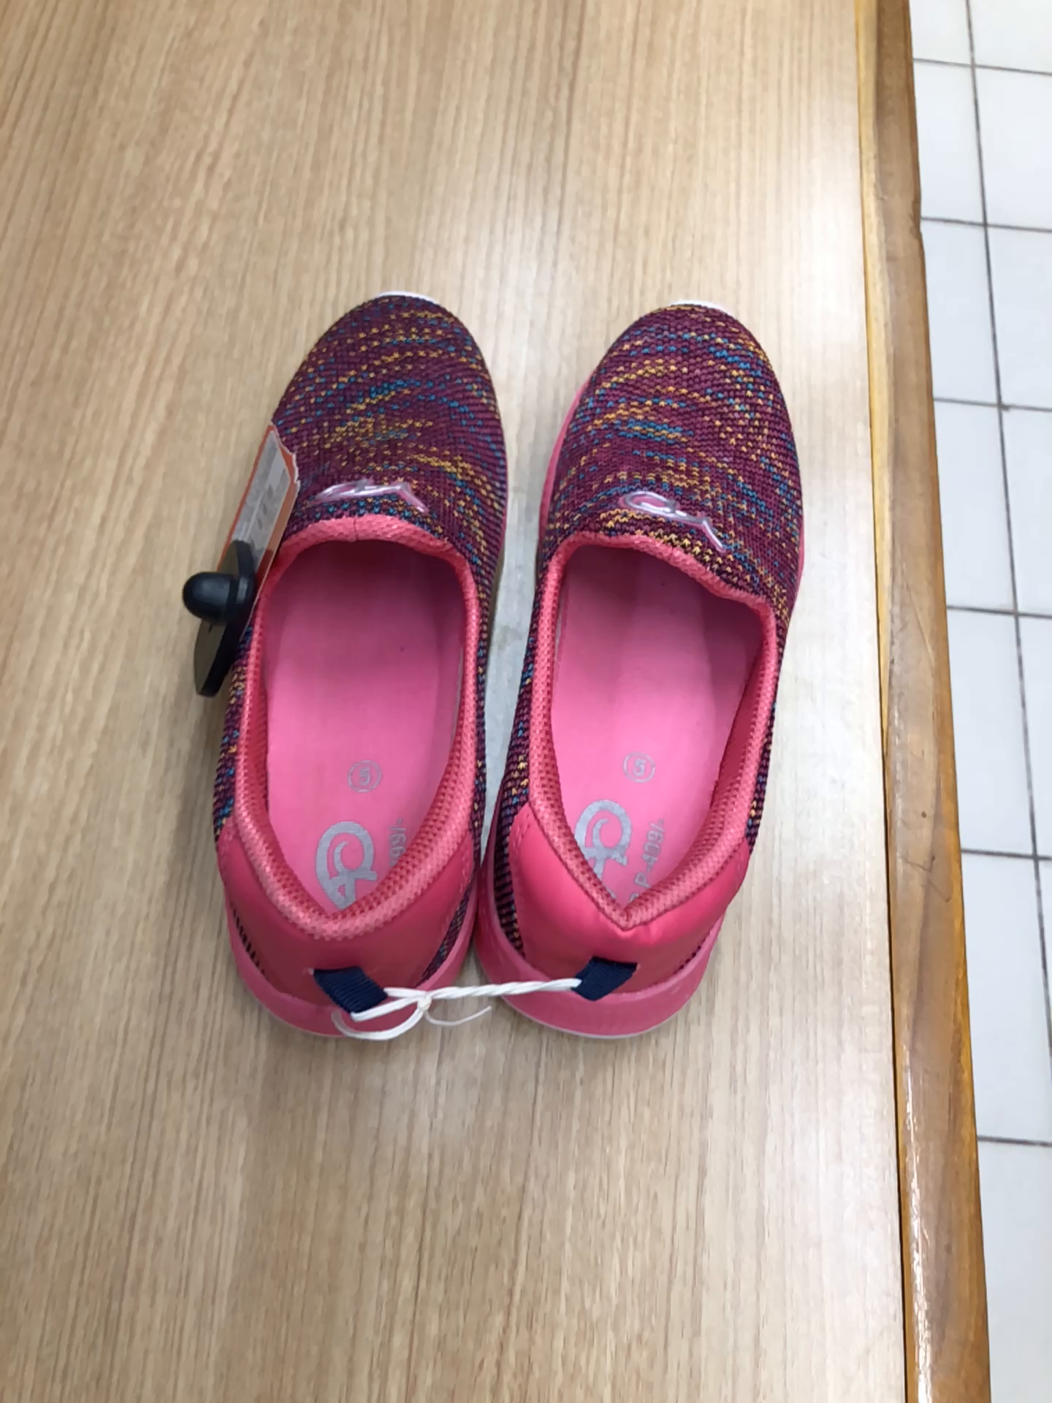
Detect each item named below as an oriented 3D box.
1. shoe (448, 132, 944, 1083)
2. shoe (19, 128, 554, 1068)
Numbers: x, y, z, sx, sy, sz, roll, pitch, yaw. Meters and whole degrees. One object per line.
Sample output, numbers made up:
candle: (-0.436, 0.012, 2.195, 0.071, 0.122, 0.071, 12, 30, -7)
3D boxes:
shoe: (0.050, -0.026, 0.342, 0.105, 0.103, 0.245, 8, 69, 0)
shoe: (-0.051, -0.028, 0.337, 0.105, 0.103, 0.244, 3, 69, -2)
